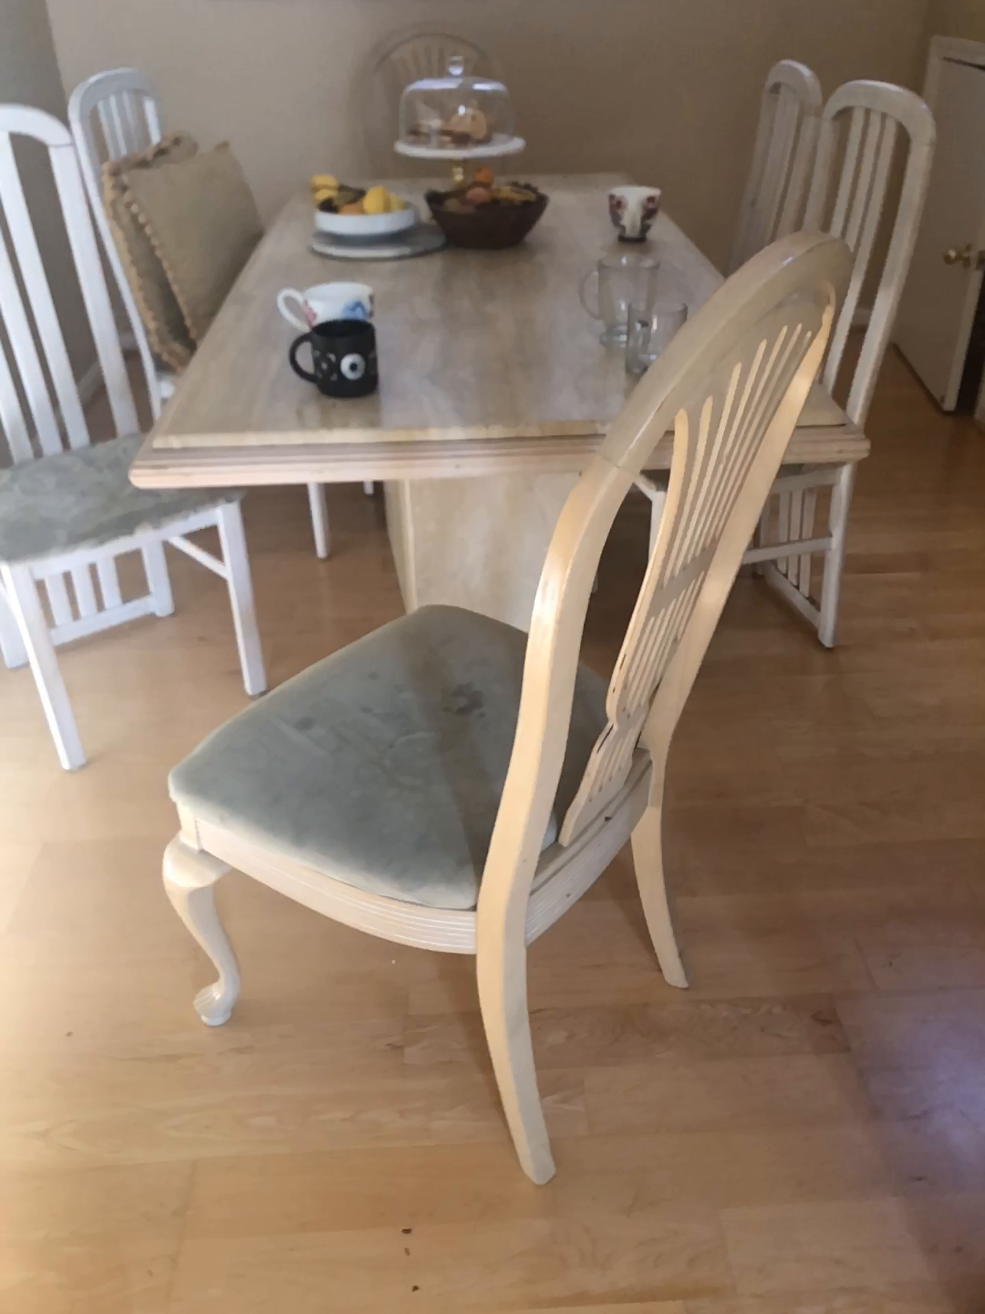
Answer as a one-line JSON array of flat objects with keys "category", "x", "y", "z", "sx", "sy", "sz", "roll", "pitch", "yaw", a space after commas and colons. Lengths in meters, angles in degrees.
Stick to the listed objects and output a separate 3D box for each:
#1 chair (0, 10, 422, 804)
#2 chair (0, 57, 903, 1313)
[{"category": "chair", "x": -0.657, "y": -0.546, "z": 2.366, "sx": 0.633, "sy": 1.448, "sz": 0.673, "roll": -22, "pitch": 36, "yaw": -28}, {"category": "chair", "x": -0.063, "y": 0.063, "z": 1.304, "sx": 0.631, "sy": 1.288, "sz": 0.594, "roll": 24, "pitch": 41, "yaw": 30}]
